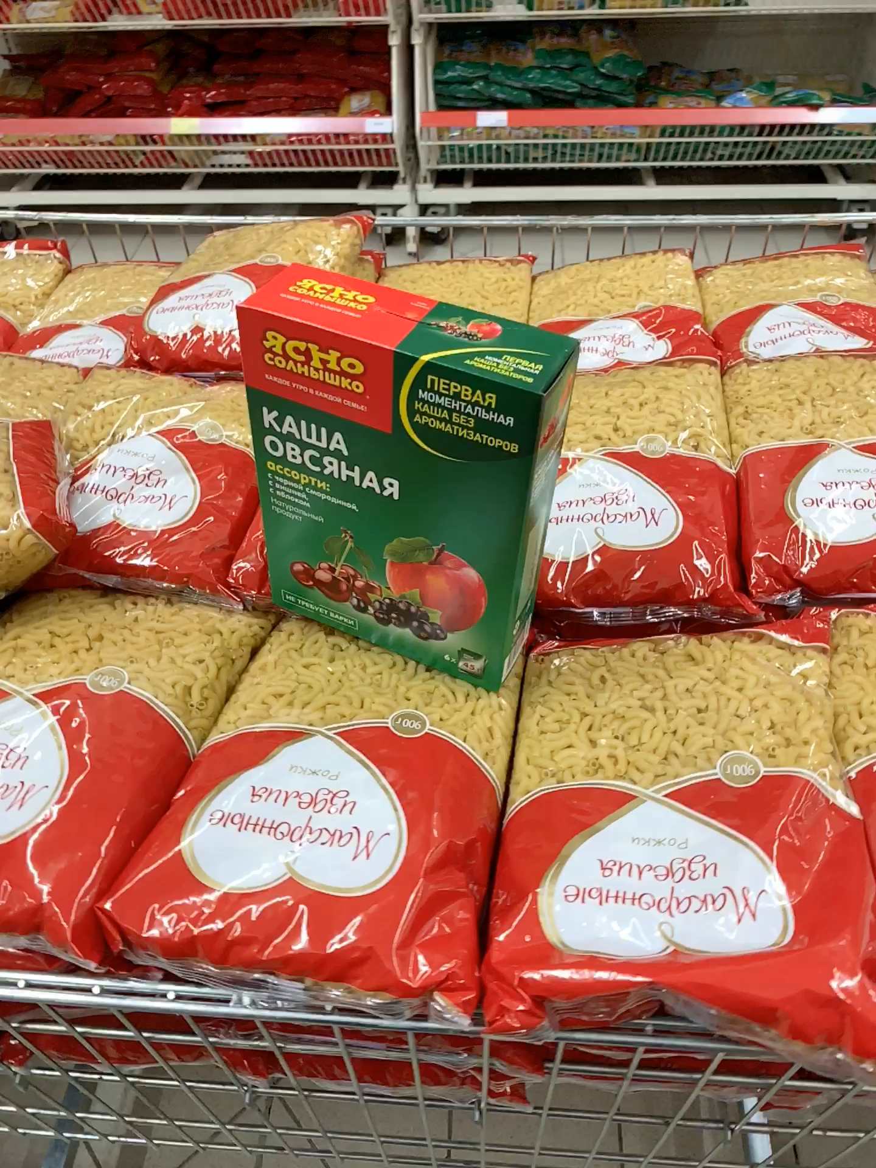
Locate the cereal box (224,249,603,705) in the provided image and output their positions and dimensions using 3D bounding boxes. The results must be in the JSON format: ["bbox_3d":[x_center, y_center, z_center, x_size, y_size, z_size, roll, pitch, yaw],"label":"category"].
[{"bbox_3d":[-0.017,-0.050,0.471,0.160,0.198,0.060,20,46,16],"label":"cereal box"}]
